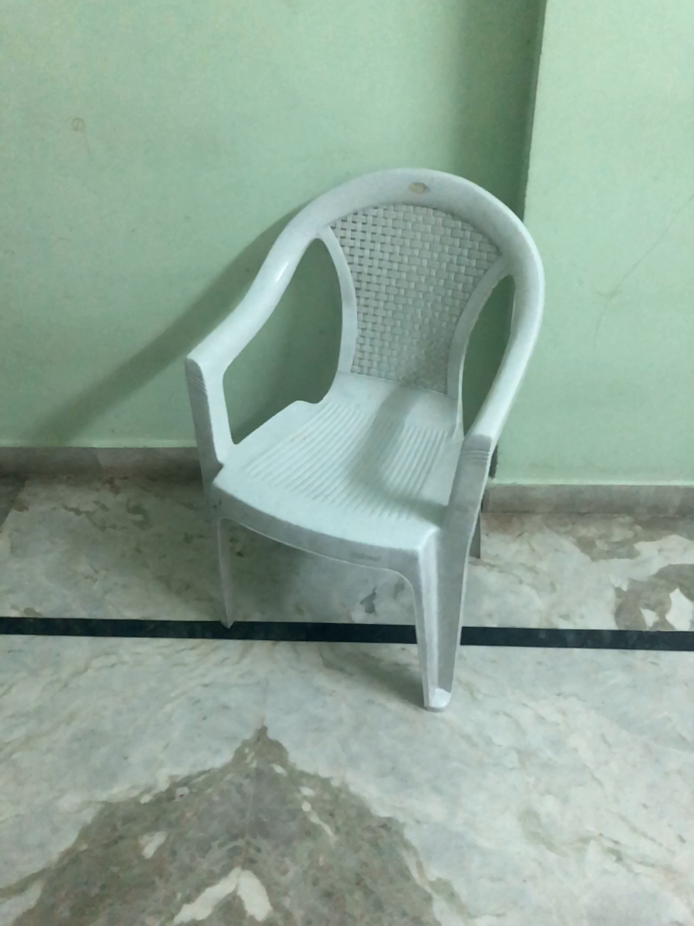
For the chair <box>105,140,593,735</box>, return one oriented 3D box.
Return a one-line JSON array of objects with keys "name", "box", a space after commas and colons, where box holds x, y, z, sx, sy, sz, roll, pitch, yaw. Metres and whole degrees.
[{"name": "chair", "box": [0.045, -0.047, 1.391, 0.531, 0.824, 0.532, 18, 46, 23]}]
